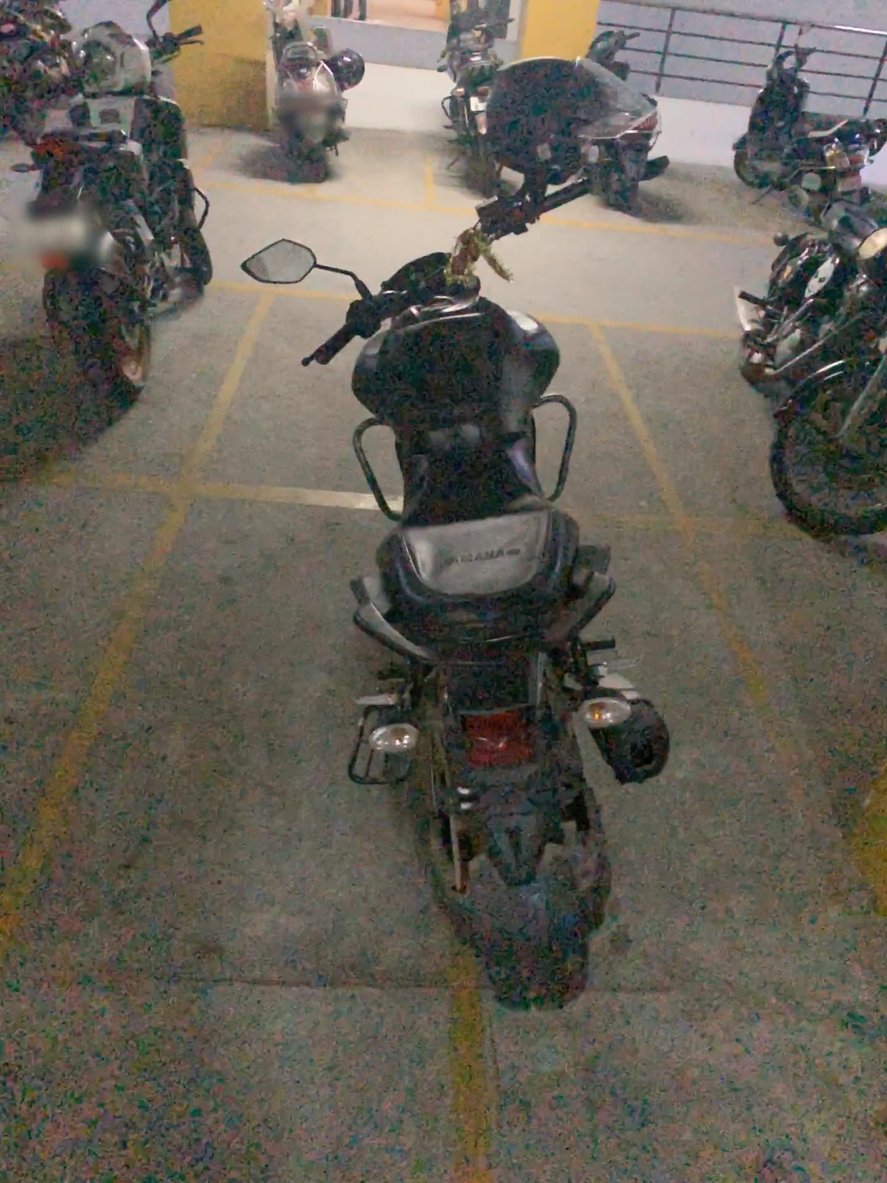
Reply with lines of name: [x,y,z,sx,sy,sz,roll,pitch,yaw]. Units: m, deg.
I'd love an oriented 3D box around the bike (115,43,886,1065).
bike: [-0.117,-0.247,1.808,0.786,1.097,1.743,-1,39,-11]
